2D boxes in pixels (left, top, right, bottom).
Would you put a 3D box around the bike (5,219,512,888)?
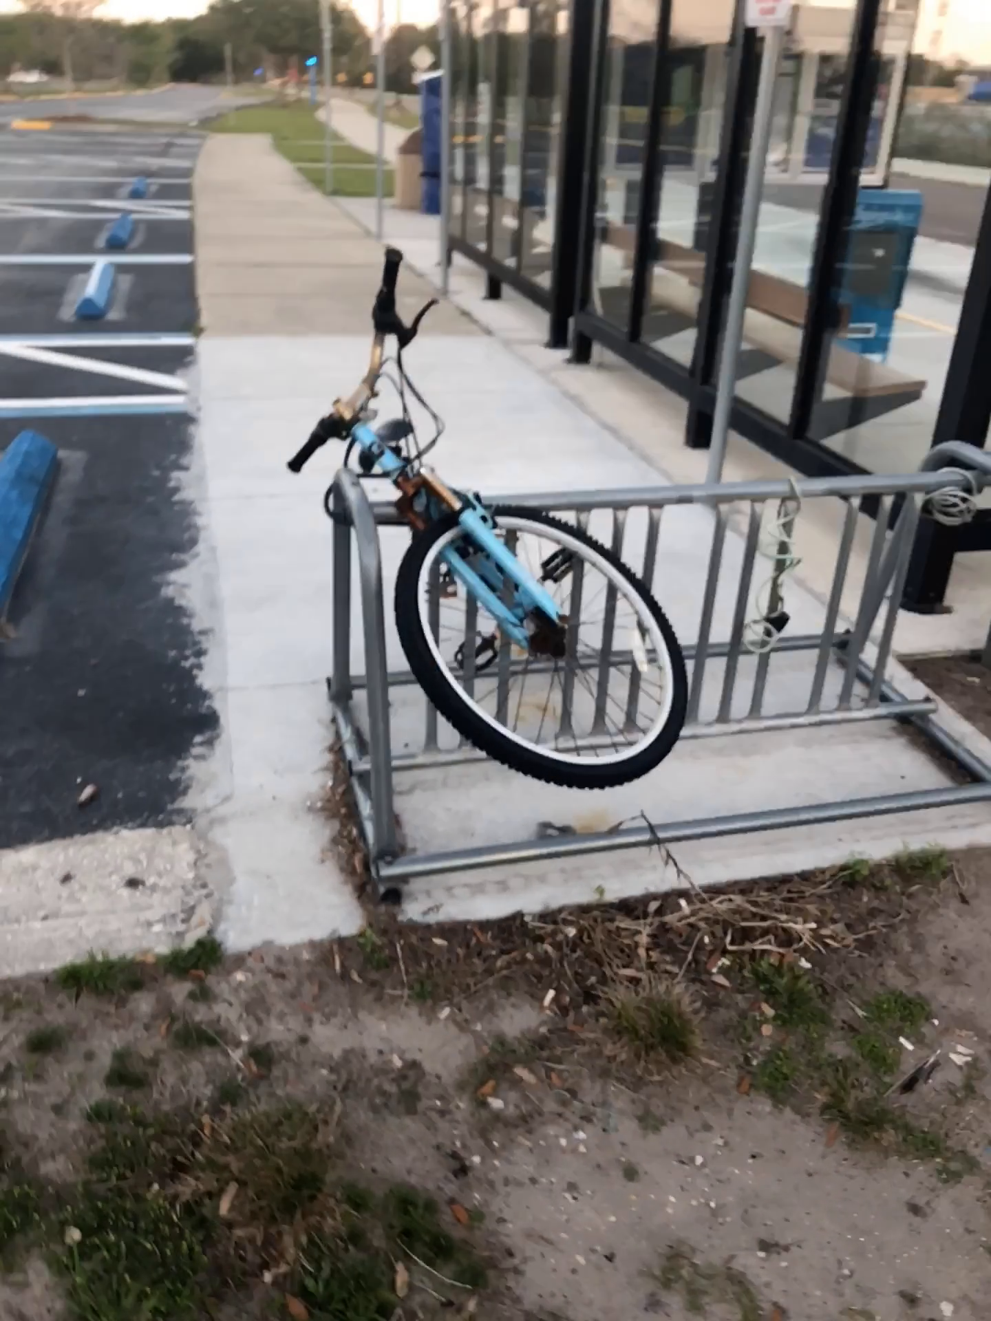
[{"bbox_3d":[-0.353,-0.276,2.215,0.547,1.127,0.943,6,25,8],"label":"bike"}]
